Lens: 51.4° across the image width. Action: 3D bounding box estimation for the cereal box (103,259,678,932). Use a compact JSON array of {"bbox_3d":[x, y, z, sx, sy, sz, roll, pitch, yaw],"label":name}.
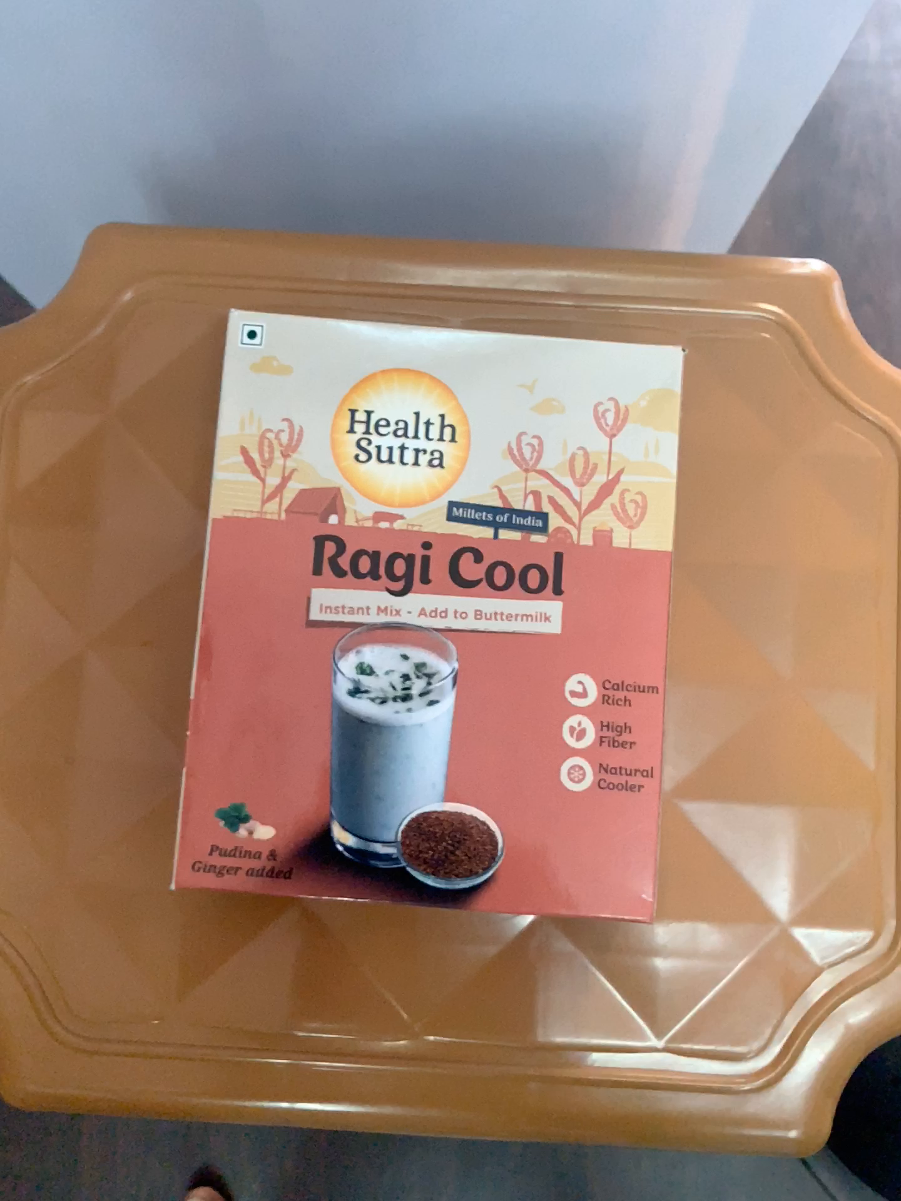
[{"bbox_3d":[-0.013,-0.003,0.267,0.140,0.040,0.170,4,84,1],"label":"cereal box"}]
